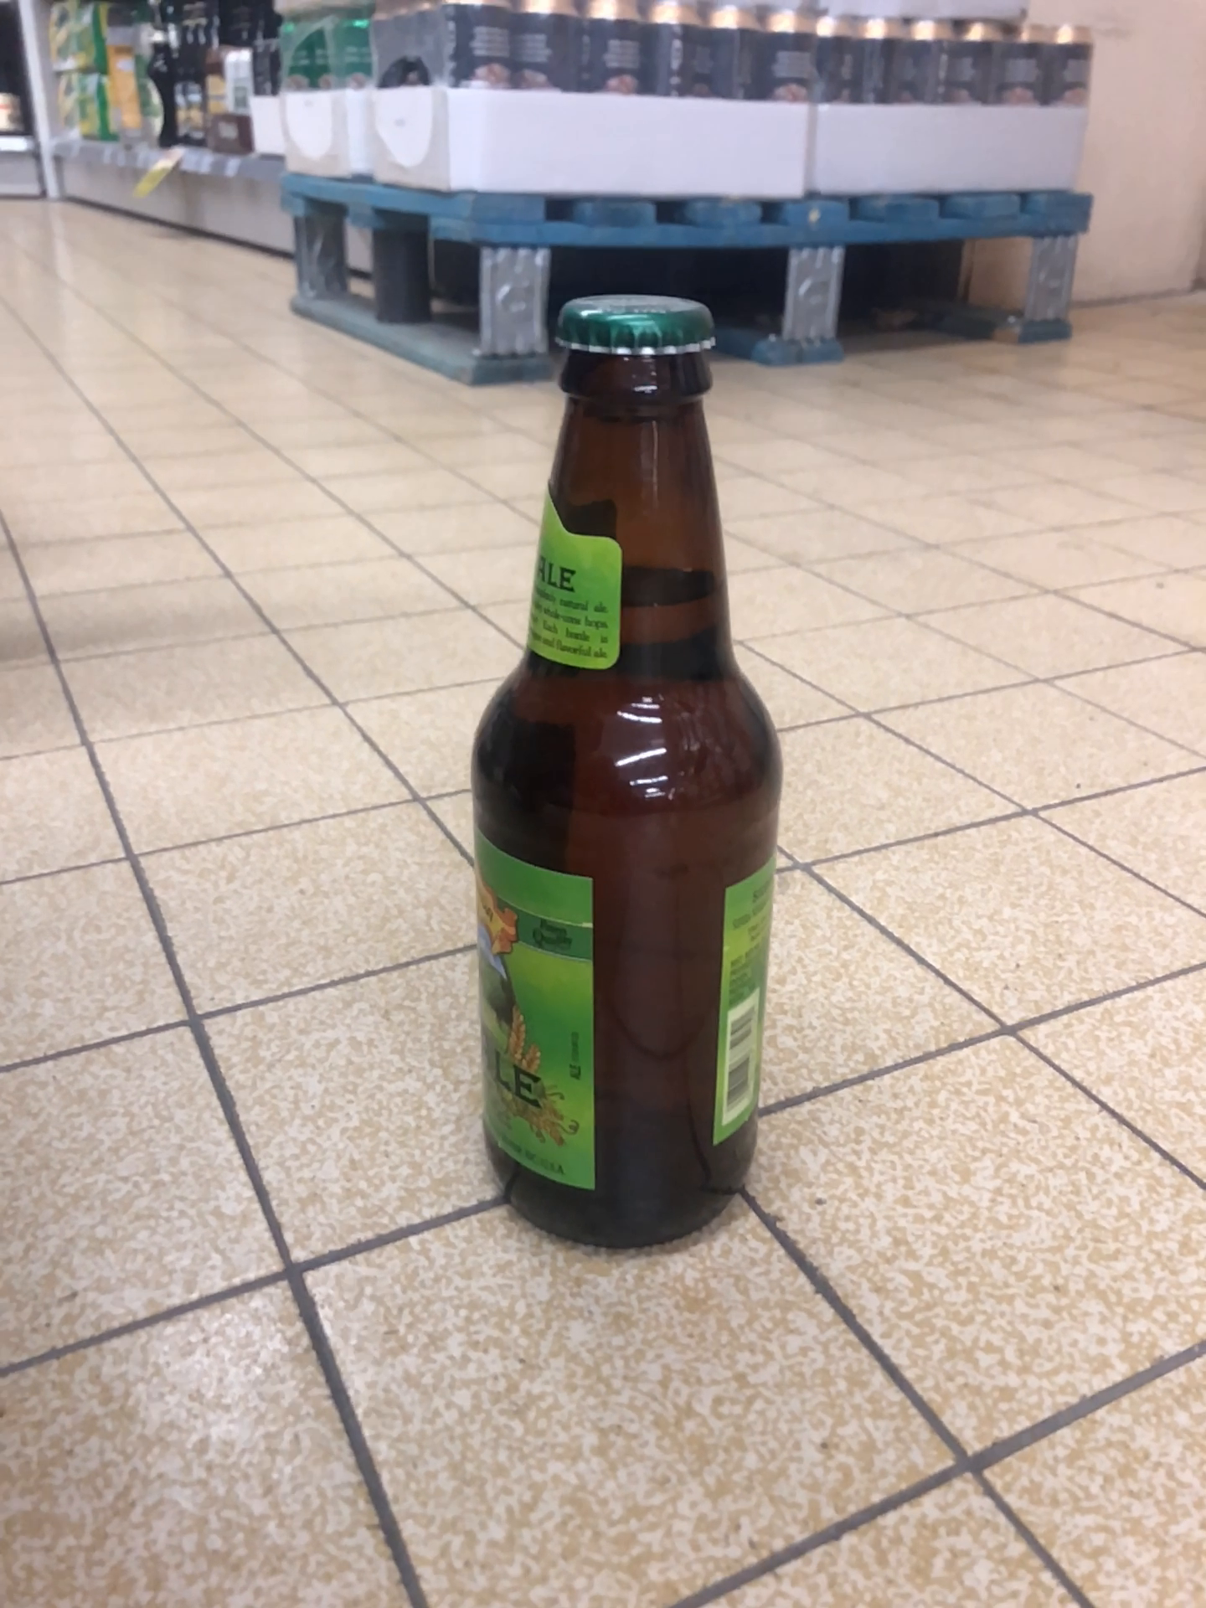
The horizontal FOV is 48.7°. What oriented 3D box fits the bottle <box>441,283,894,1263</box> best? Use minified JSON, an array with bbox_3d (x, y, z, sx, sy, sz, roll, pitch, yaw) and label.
[{"bbox_3d":[0.005,-0.002,0.273,0.070,0.189,0.060,-2,26,-7],"label":"bottle"}]
